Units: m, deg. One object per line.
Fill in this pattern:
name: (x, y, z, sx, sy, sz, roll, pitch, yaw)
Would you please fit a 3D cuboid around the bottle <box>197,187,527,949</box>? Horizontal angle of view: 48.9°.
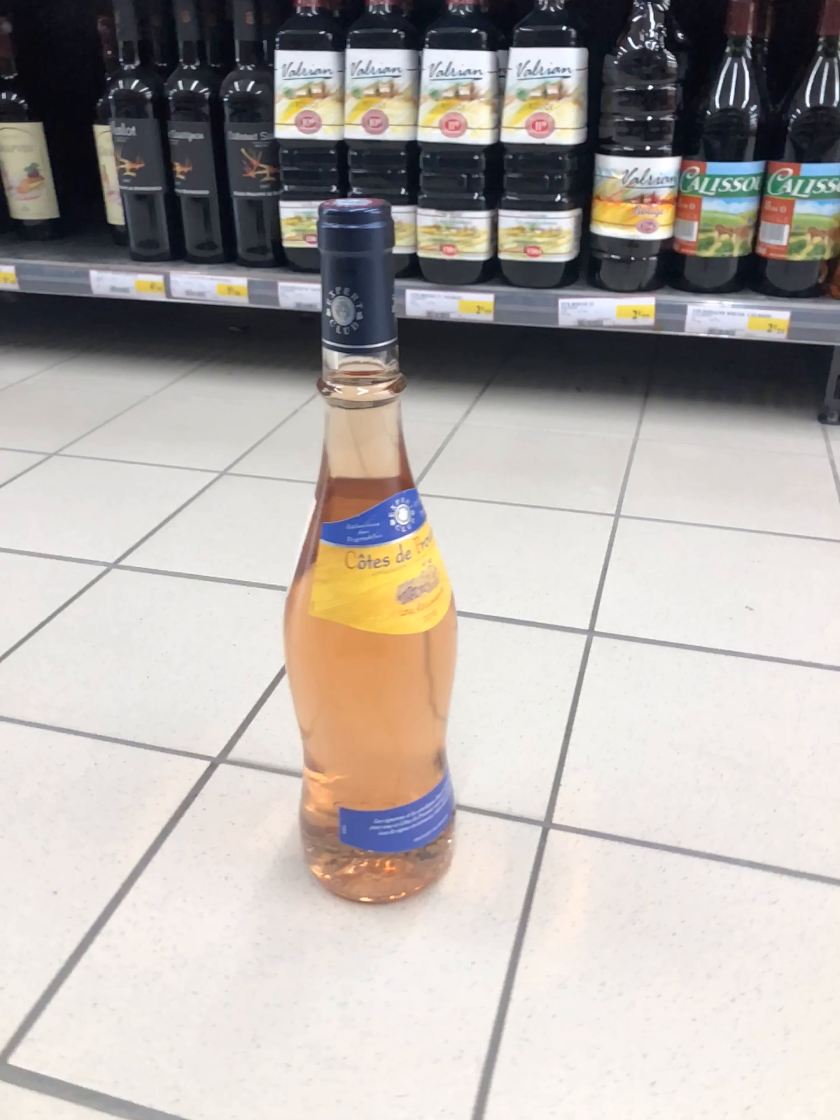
bottle: (-0.019, 0.011, 0.410, 0.090, 0.318, 0.080, -24, 35, -38)
